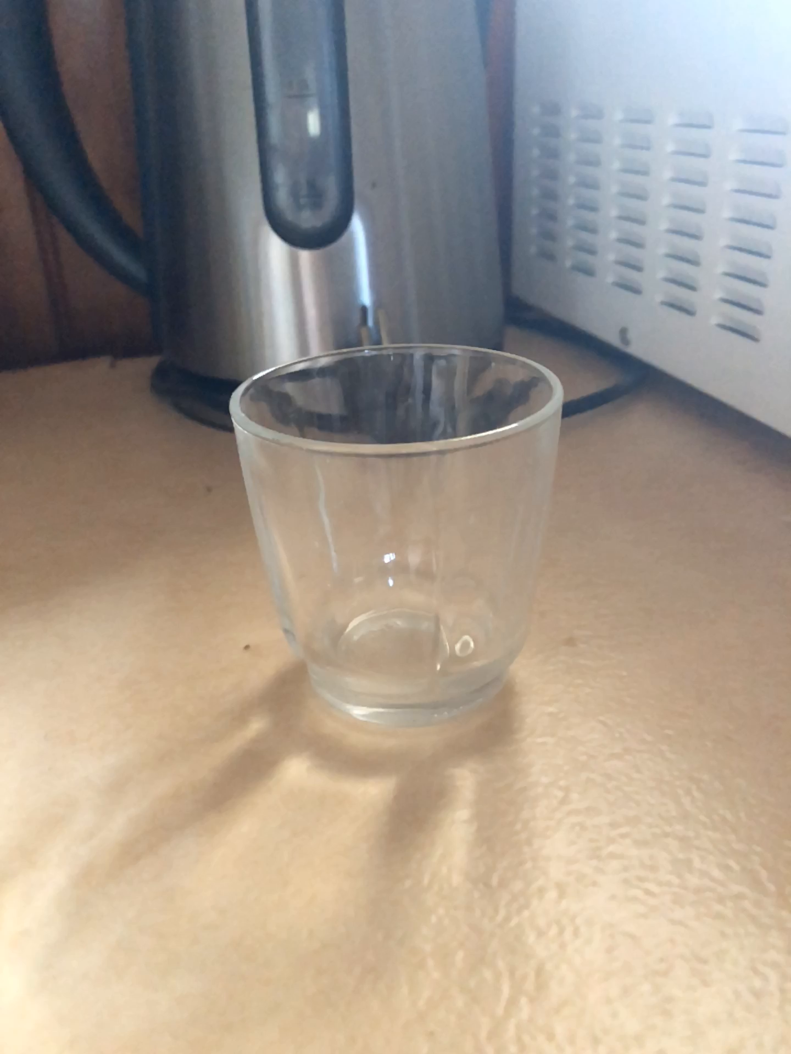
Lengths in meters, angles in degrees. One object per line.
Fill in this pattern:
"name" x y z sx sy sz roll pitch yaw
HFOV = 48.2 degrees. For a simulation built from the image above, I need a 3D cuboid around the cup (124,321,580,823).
"cup" -0.005 0.003 0.205 0.070 0.080 0.070 -2 27 1
